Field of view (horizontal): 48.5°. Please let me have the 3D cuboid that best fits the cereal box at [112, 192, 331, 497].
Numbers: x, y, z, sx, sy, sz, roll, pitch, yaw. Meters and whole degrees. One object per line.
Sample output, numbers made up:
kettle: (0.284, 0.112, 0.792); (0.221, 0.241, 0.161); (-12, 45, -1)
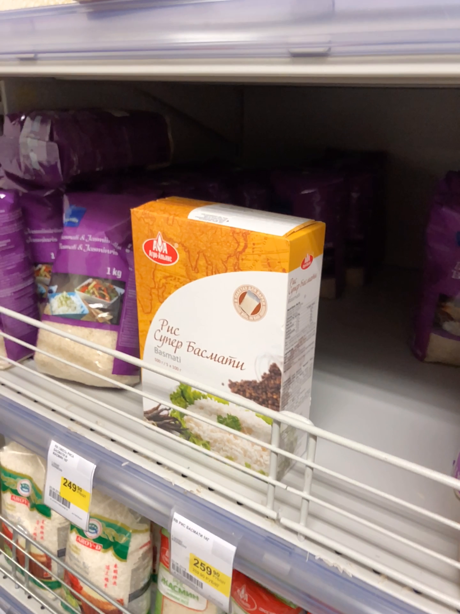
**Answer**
cereal box: (-0.009, 0.021, 0.383); (0.140, 0.189, 0.060); (15, 26, 31)
